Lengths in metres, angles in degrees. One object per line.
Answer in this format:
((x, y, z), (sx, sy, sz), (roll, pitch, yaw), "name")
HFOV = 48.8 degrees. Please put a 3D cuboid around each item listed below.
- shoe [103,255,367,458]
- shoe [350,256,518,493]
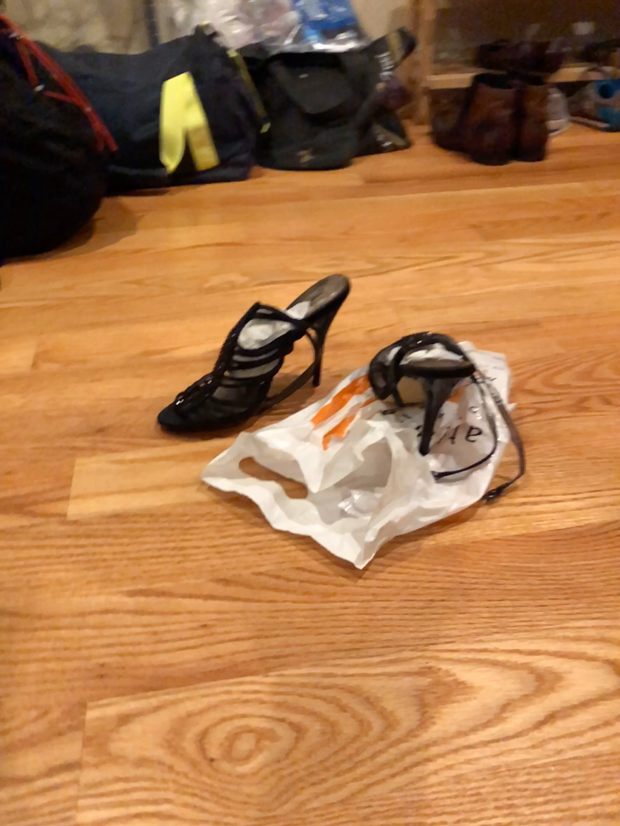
((-0.065, -0.060, 0.643), (0.218, 0.112, 0.091), (-17, 37, -23), "shoe")
((0.097, -0.045, 0.614), (0.092, 0.112, 0.218), (-4, 34, -4), "shoe")
